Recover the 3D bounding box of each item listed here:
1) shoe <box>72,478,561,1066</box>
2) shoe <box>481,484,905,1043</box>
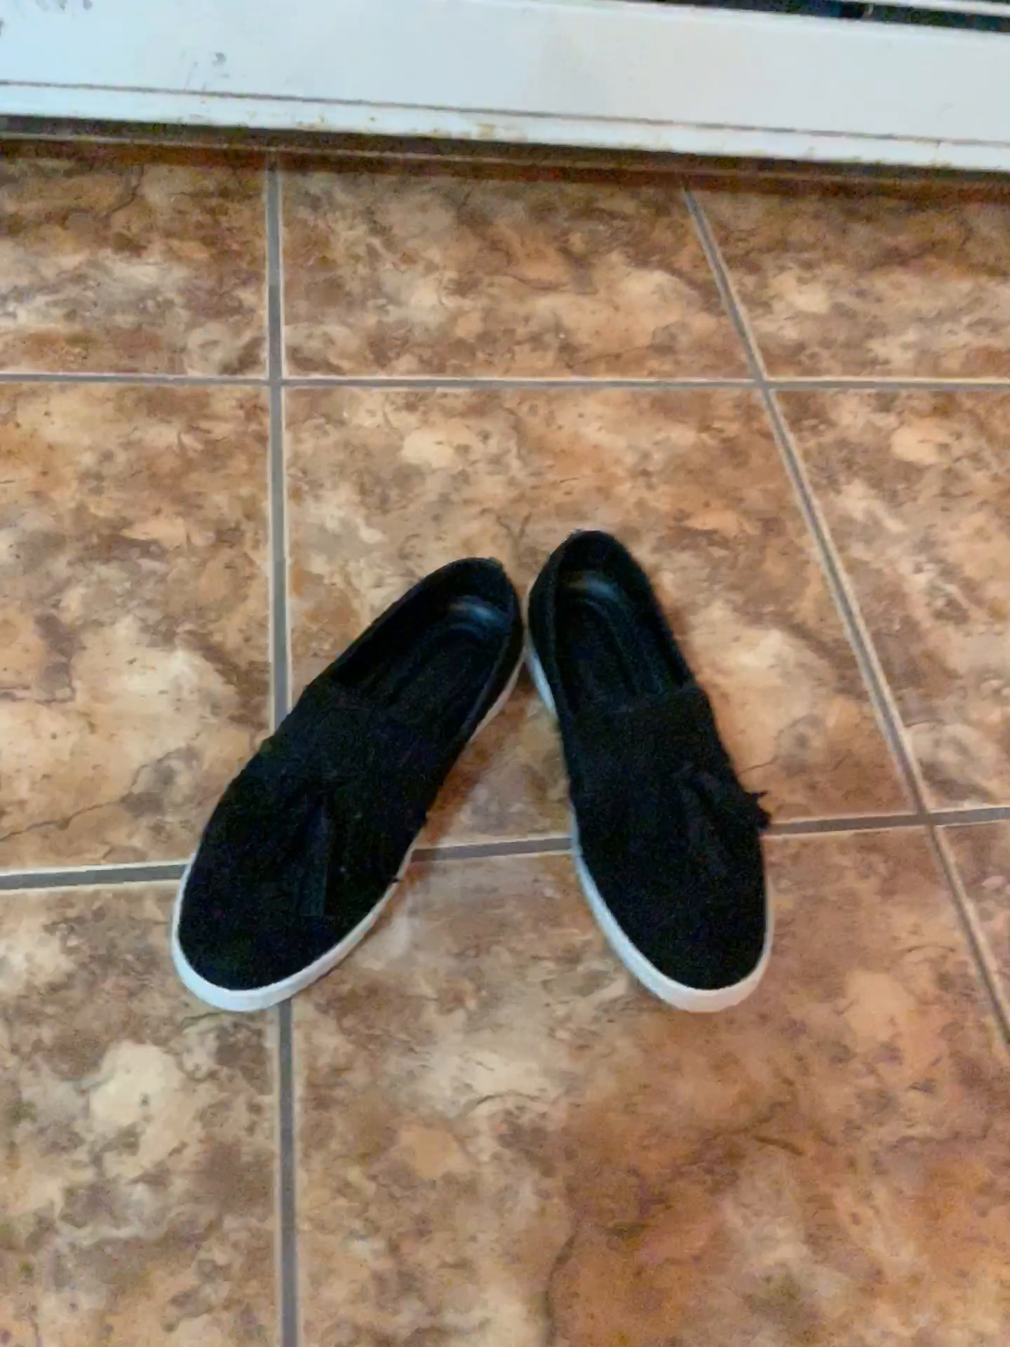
[{"bbox_3d":[-0.073,0.036,0.488,0.097,0.094,0.250,24,56,8],"label":"shoe"},{"bbox_3d":[0.075,0.034,0.512,0.097,0.094,0.250,-11,58,-16],"label":"shoe"}]
